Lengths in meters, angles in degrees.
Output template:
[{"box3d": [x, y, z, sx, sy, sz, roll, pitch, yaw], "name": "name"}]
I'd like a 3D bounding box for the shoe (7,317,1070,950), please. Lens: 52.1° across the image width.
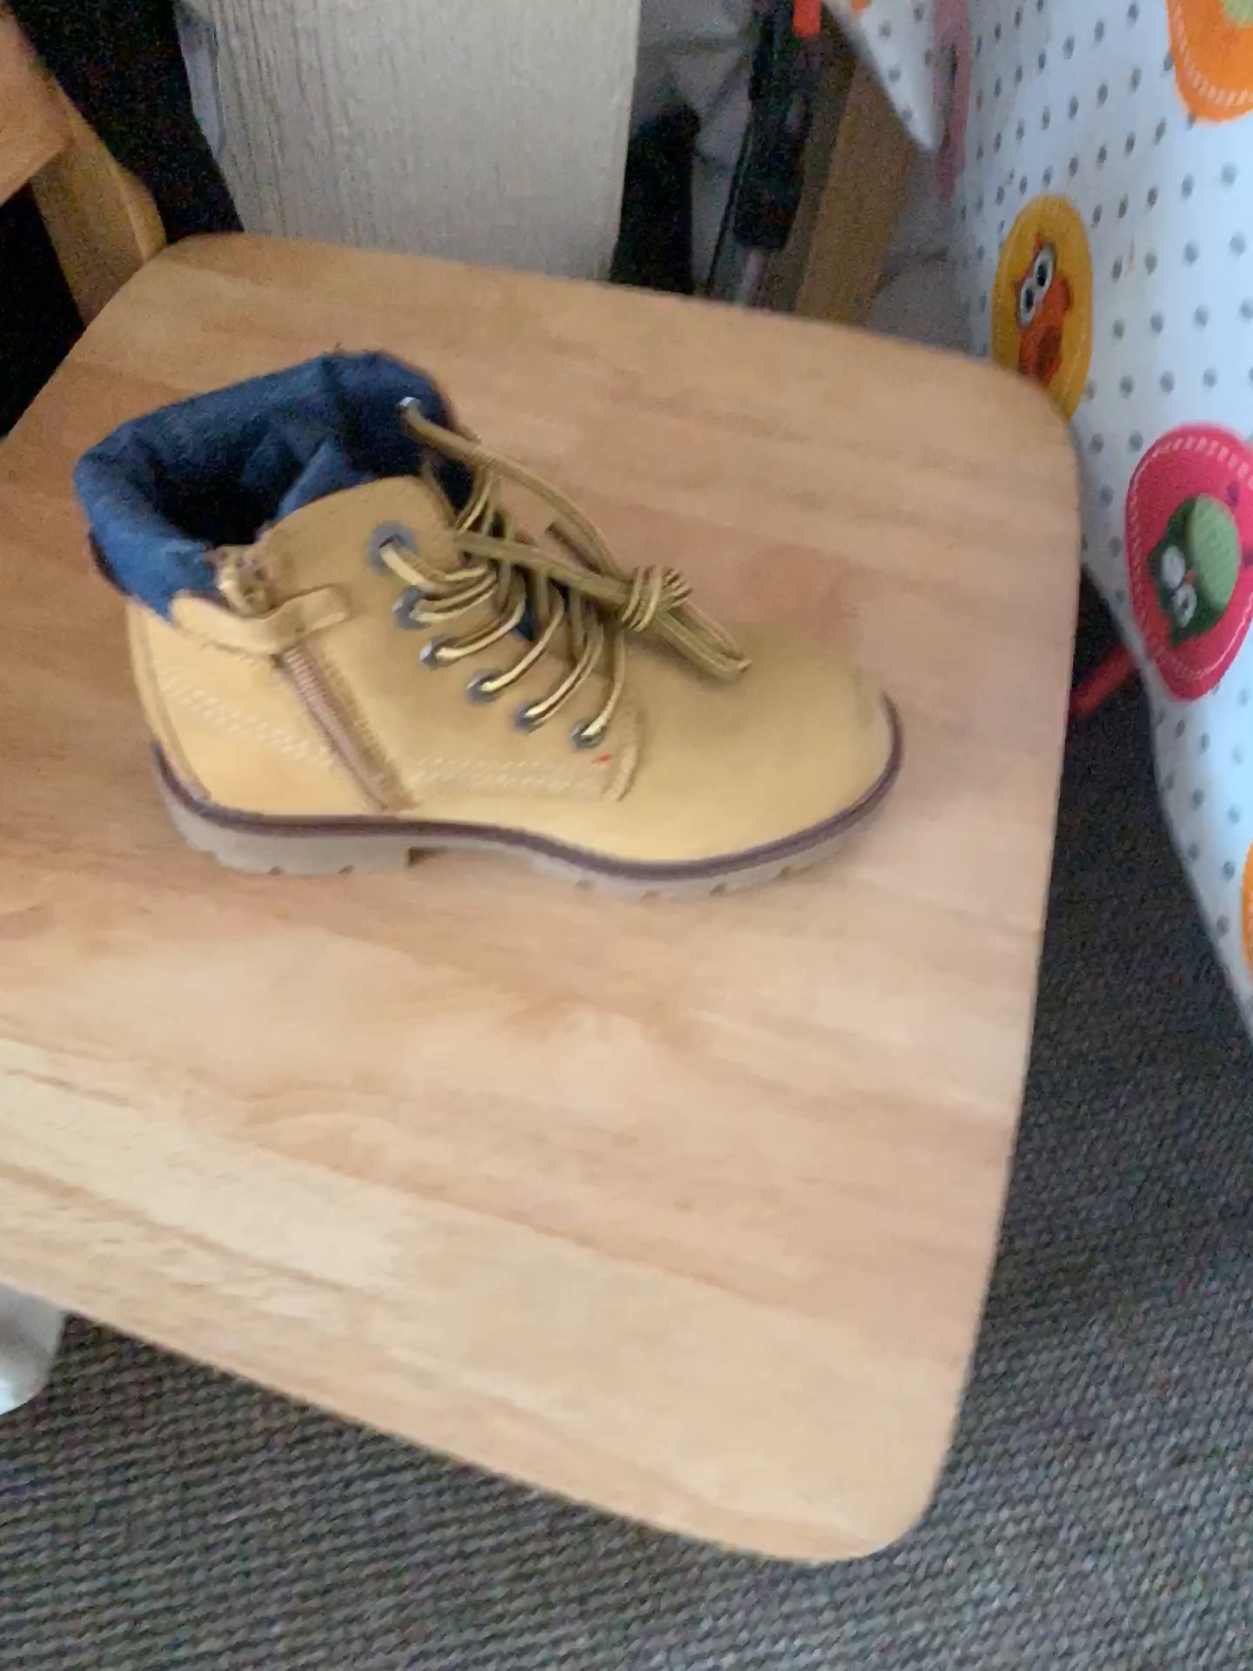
[{"box3d": [-0.021, -0.045, 0.362, 0.230, 0.139, 0.101, 3, 62, -5], "name": "shoe"}]
